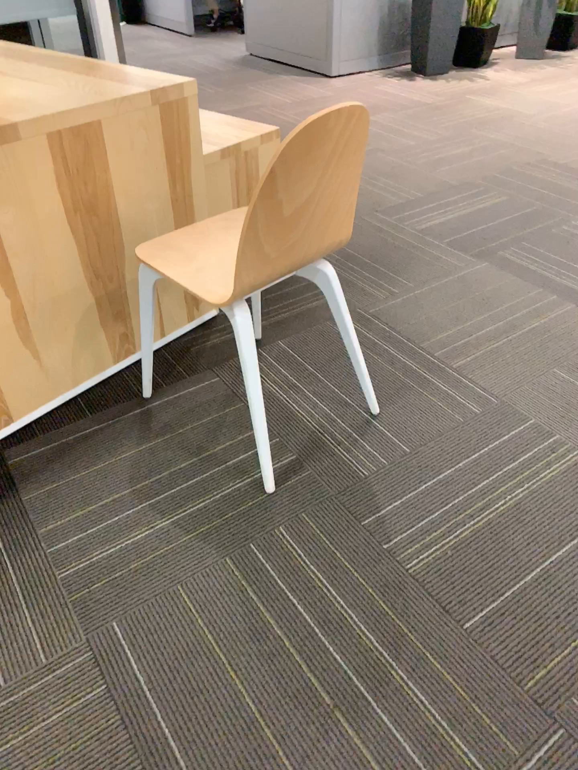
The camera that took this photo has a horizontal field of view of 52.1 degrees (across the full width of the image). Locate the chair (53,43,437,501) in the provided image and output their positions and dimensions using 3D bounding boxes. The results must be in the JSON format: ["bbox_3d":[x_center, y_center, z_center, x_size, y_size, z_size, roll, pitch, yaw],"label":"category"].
[{"bbox_3d":[-0.091,-0.284,1.399,0.582,0.805,0.481,32,49,34],"label":"chair"}]
